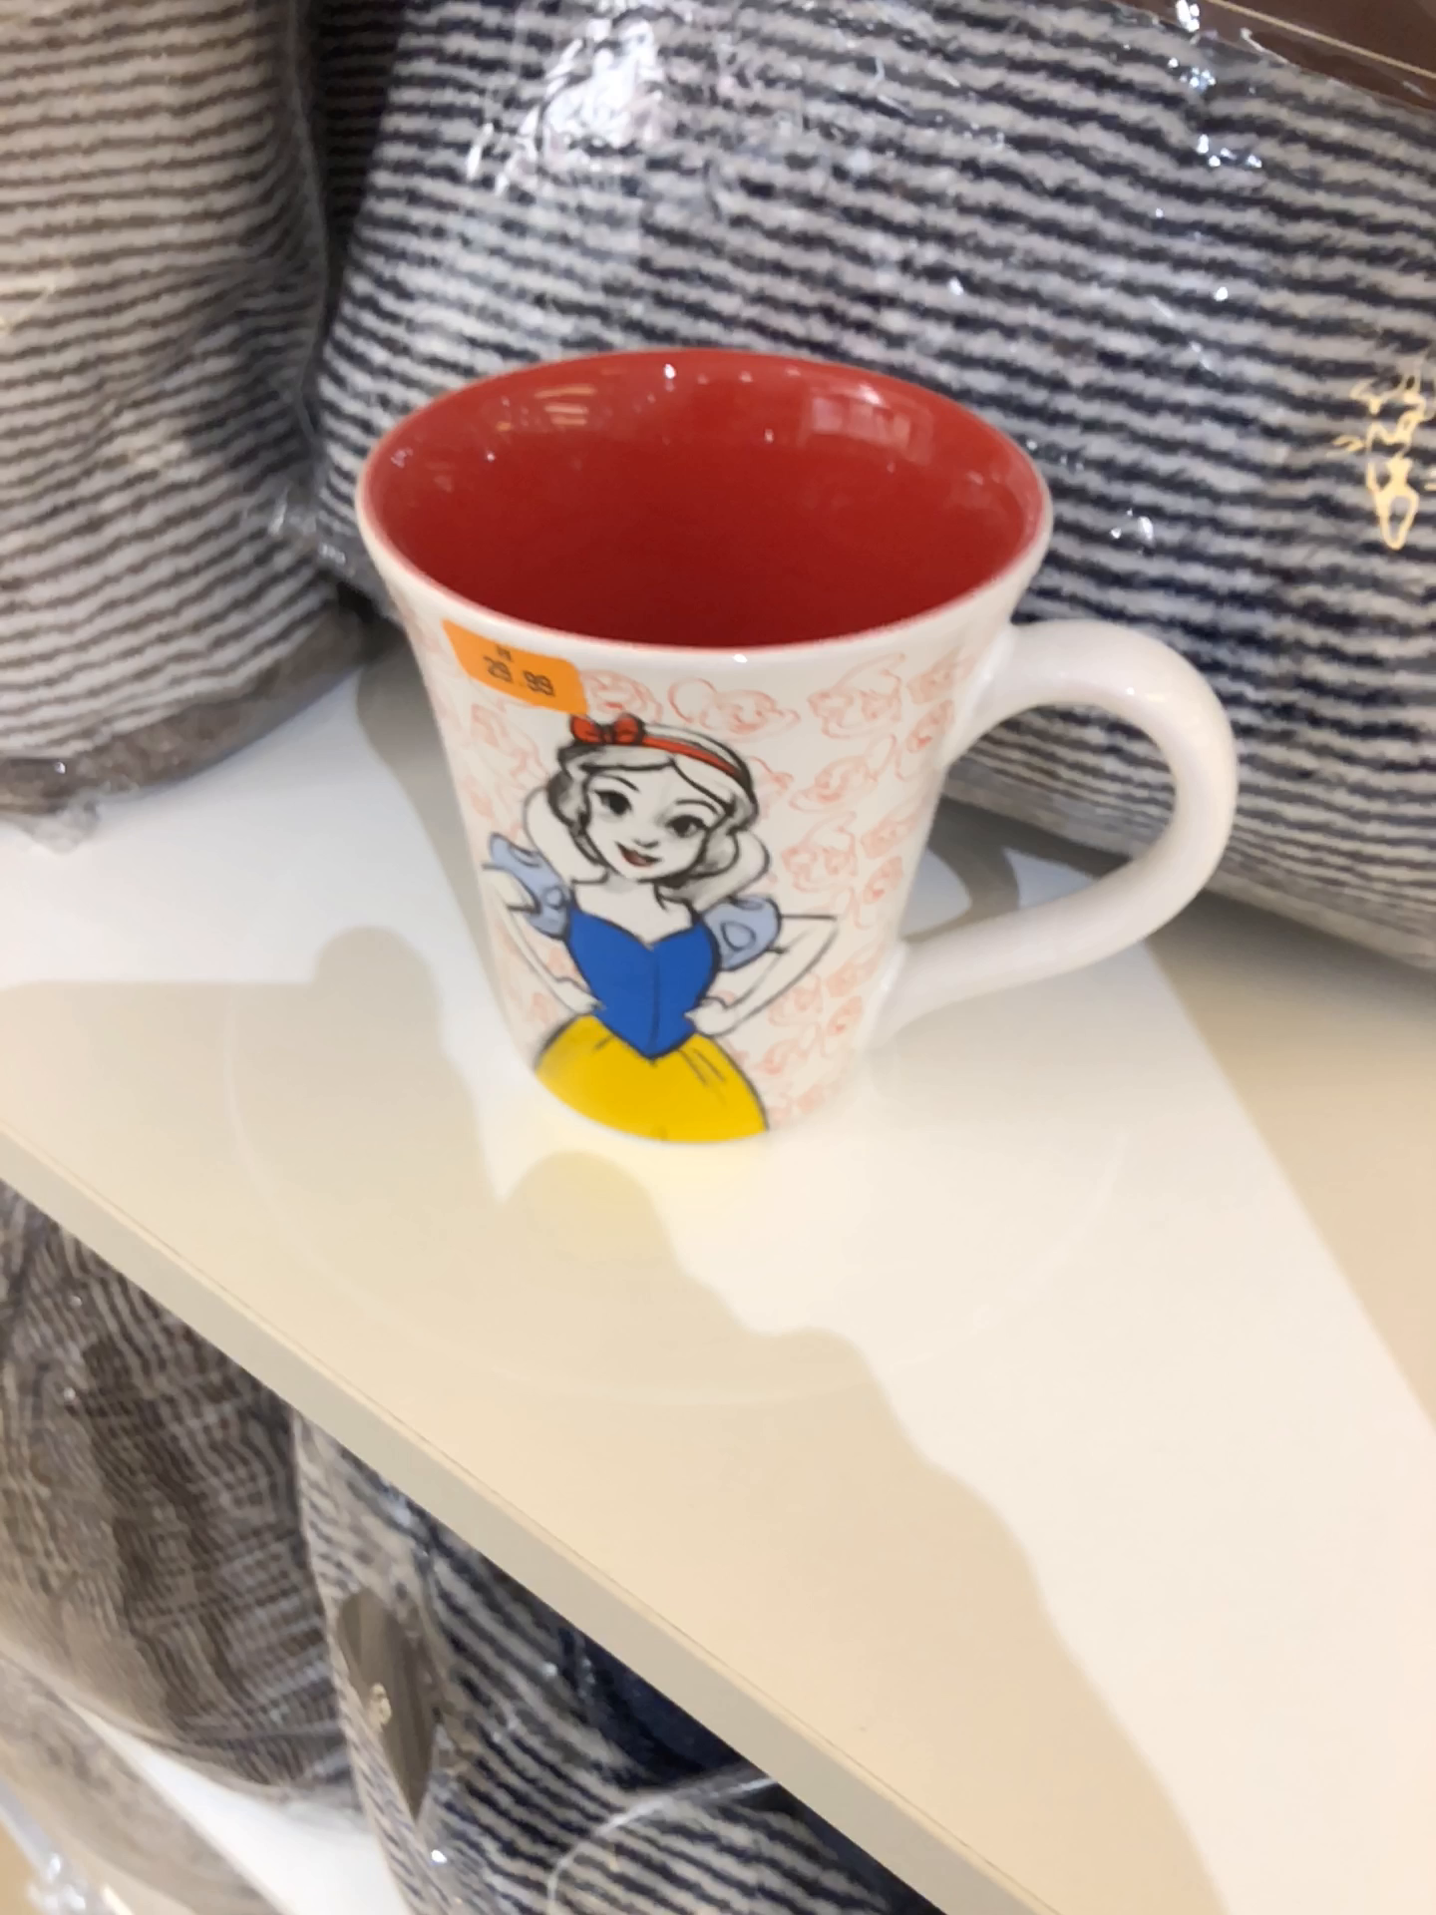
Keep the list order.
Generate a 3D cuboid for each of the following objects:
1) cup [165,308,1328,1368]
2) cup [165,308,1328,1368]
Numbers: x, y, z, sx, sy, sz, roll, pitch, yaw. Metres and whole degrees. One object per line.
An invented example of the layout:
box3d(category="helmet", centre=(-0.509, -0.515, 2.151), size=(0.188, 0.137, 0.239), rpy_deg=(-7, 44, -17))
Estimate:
box3d(category="cup", centre=(0.009, -0.023, 0.229), size=(0.120, 0.089, 0.091), rpy_deg=(15, 43, 15))
box3d(category="cup", centre=(0.009, -0.023, 0.229), size=(0.120, 0.089, 0.091), rpy_deg=(15, 43, 15))
